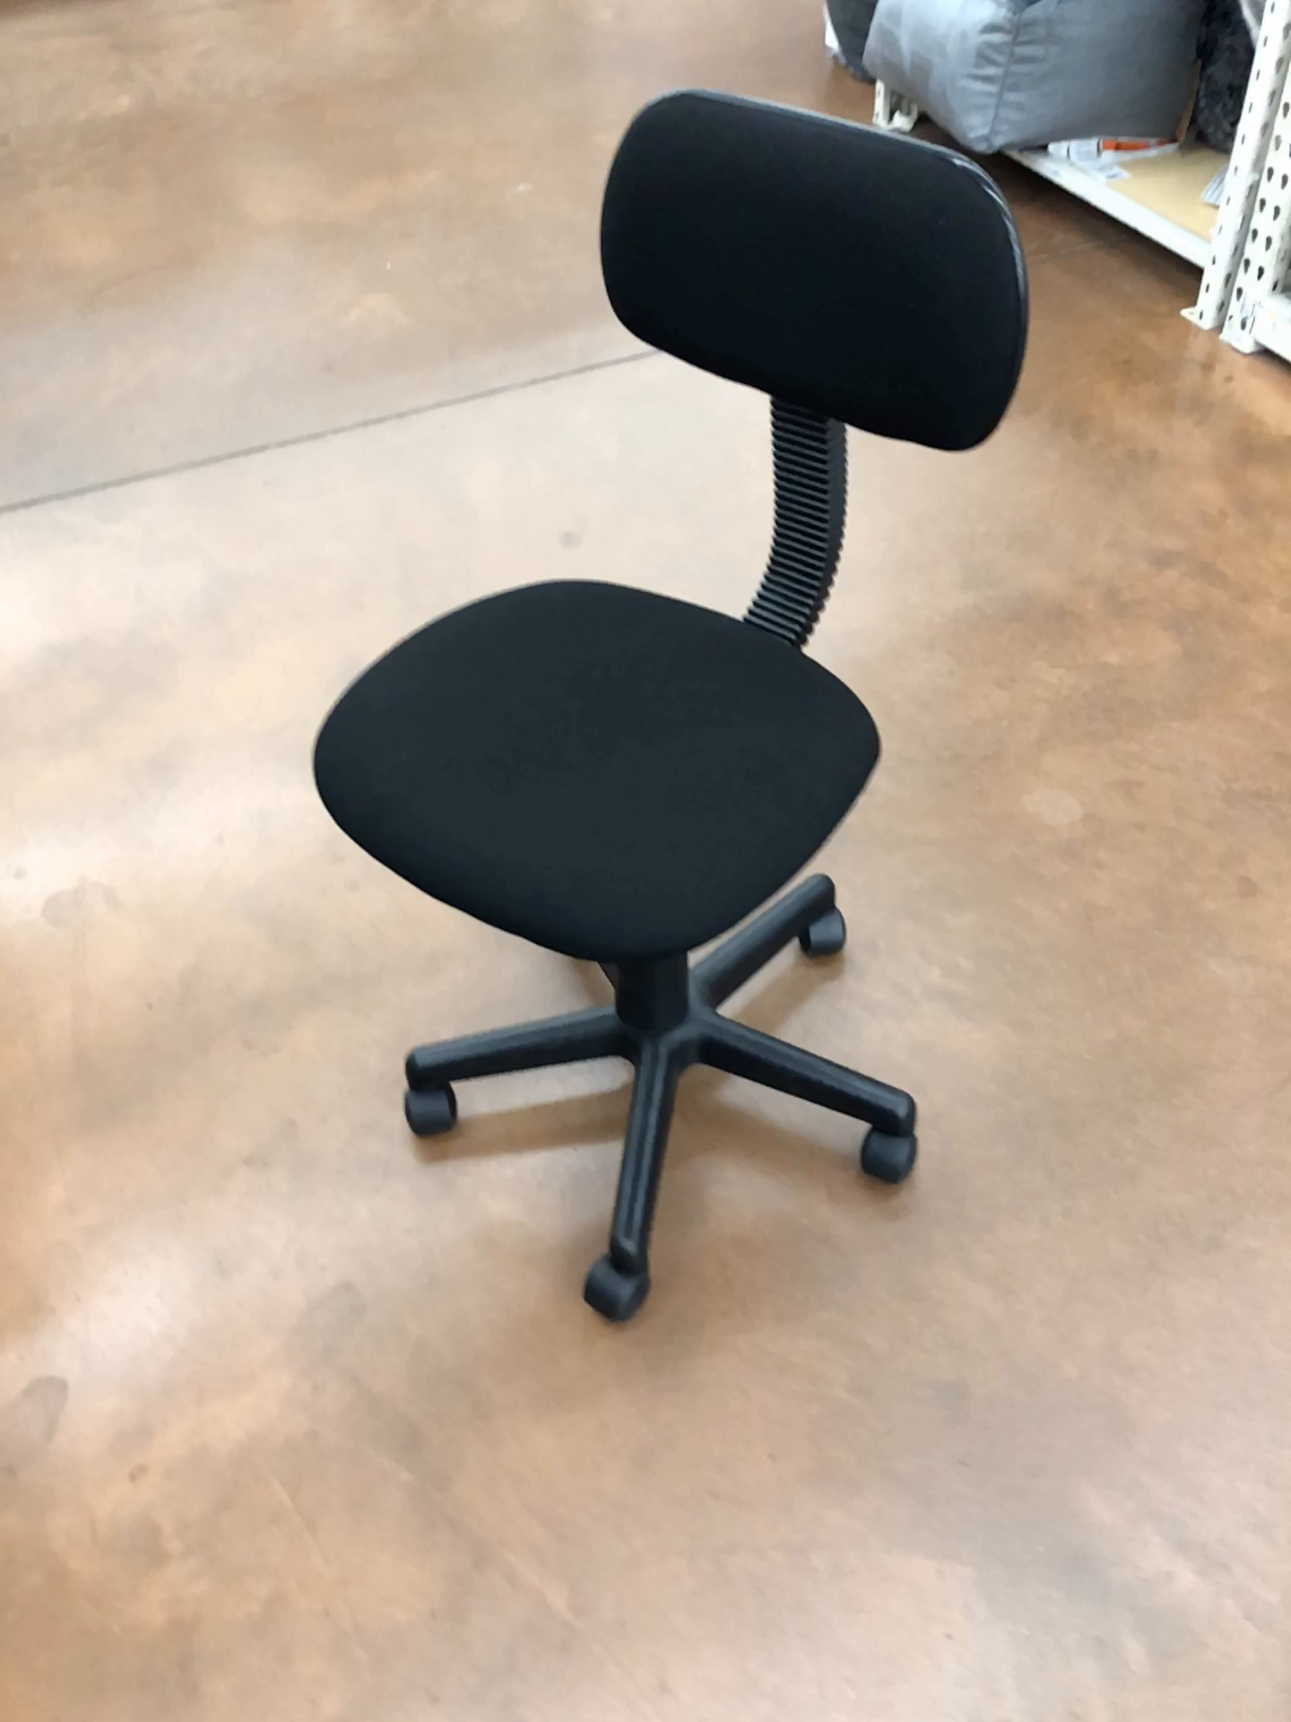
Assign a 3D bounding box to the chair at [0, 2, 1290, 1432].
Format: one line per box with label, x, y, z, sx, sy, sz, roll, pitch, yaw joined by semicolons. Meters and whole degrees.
chair;0.022;-0.150;1.204;0.671;0.797;0.661;29;54;29
